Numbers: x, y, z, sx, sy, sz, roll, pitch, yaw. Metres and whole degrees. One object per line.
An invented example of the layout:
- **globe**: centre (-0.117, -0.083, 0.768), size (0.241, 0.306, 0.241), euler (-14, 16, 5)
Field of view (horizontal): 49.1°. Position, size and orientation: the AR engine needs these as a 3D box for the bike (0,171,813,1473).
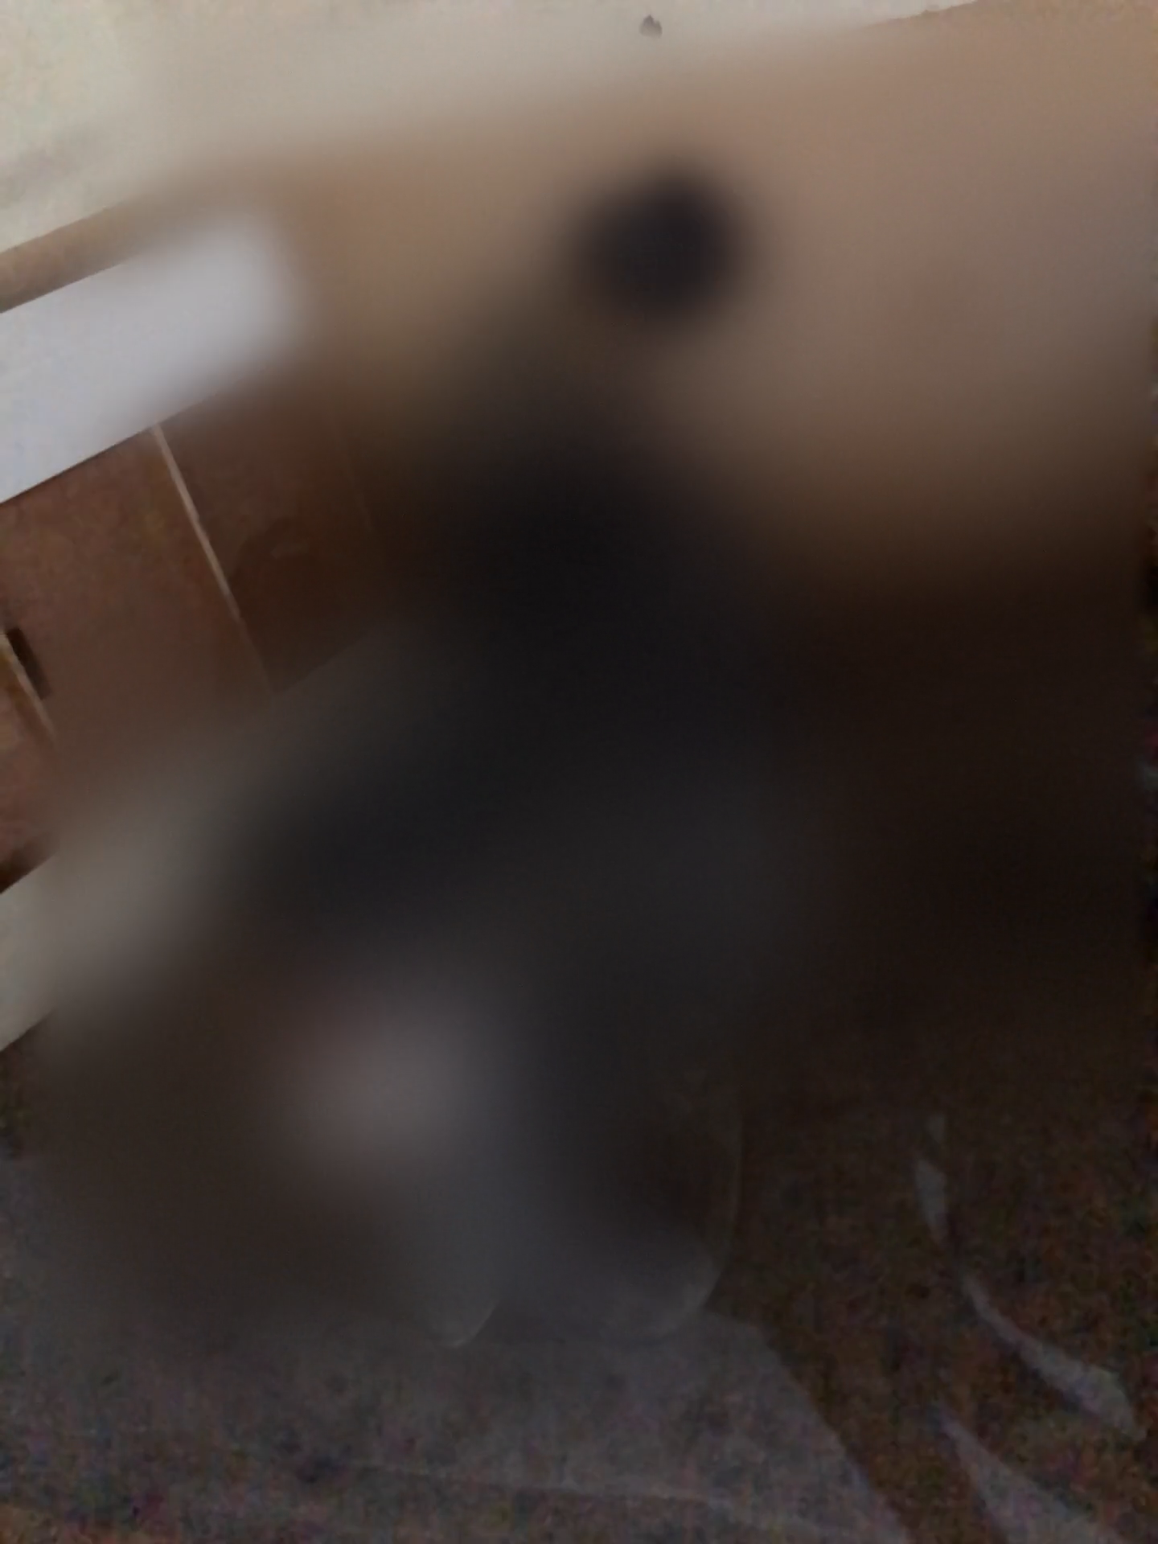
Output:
- **bike**: centre (-0.111, -0.092, 1.987), size (0.718, 1.179, 1.710), euler (-5, 33, 17)
